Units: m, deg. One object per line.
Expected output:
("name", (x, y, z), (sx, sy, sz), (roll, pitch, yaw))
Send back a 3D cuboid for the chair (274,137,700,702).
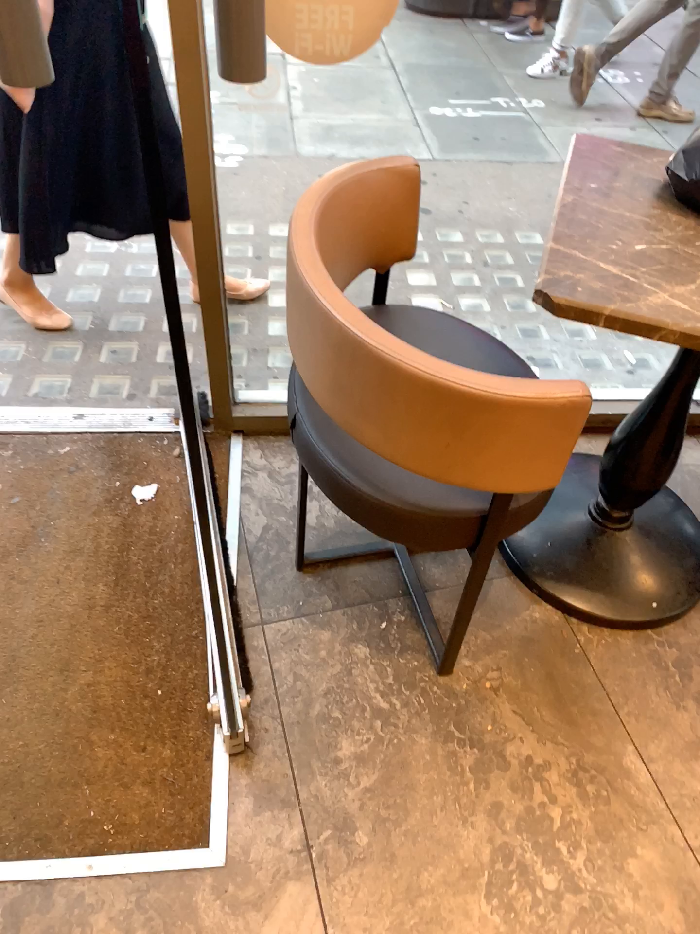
("chair", (0.141, -0.108, 1.292), (0.510, 0.653, 0.767), (-3, 47, -7))
